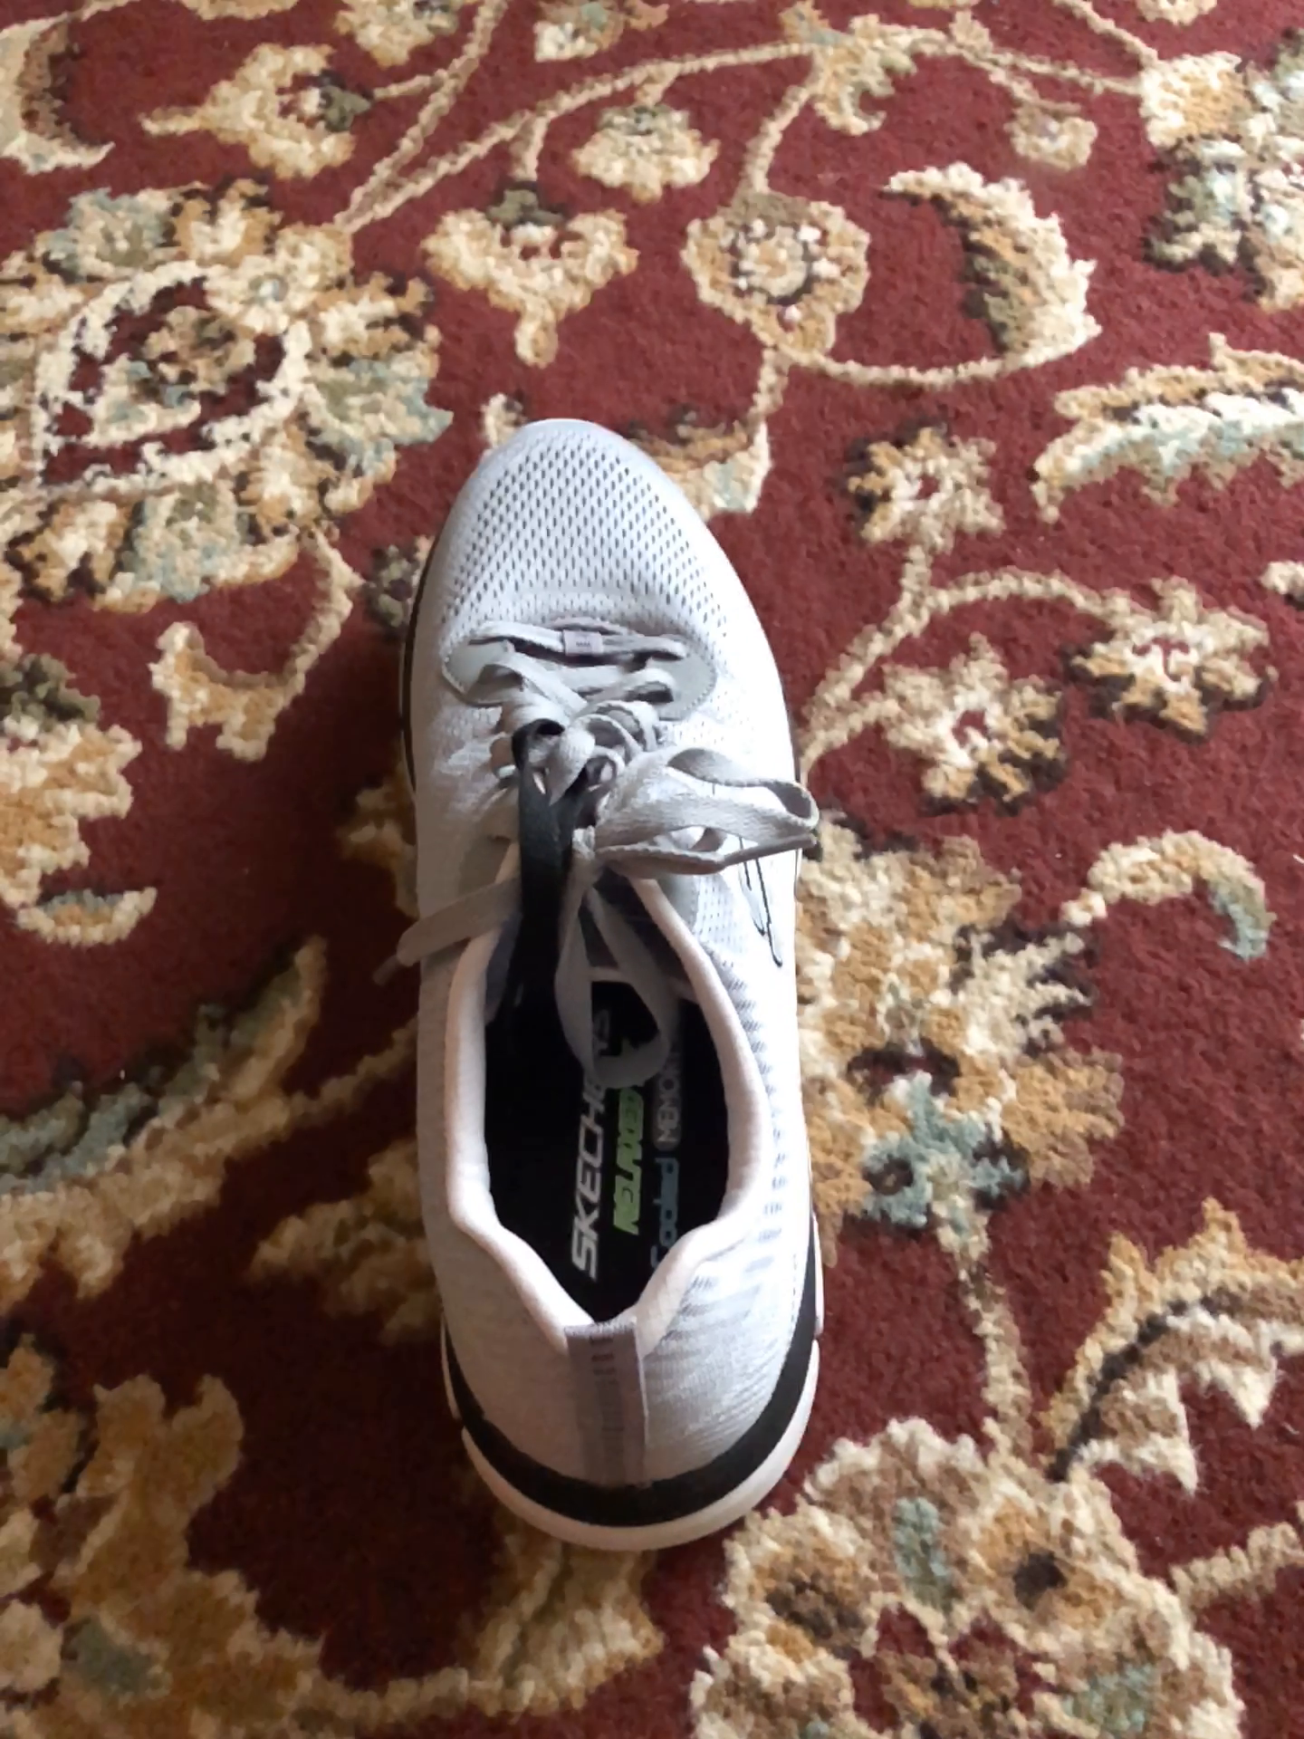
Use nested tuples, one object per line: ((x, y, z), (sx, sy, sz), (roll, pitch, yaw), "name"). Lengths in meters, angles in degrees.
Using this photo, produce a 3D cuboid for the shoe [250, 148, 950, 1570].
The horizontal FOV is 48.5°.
((-0.014, -0.010, 0.336), (0.100, 0.130, 0.300), (-3, 61, 0), "shoe")
